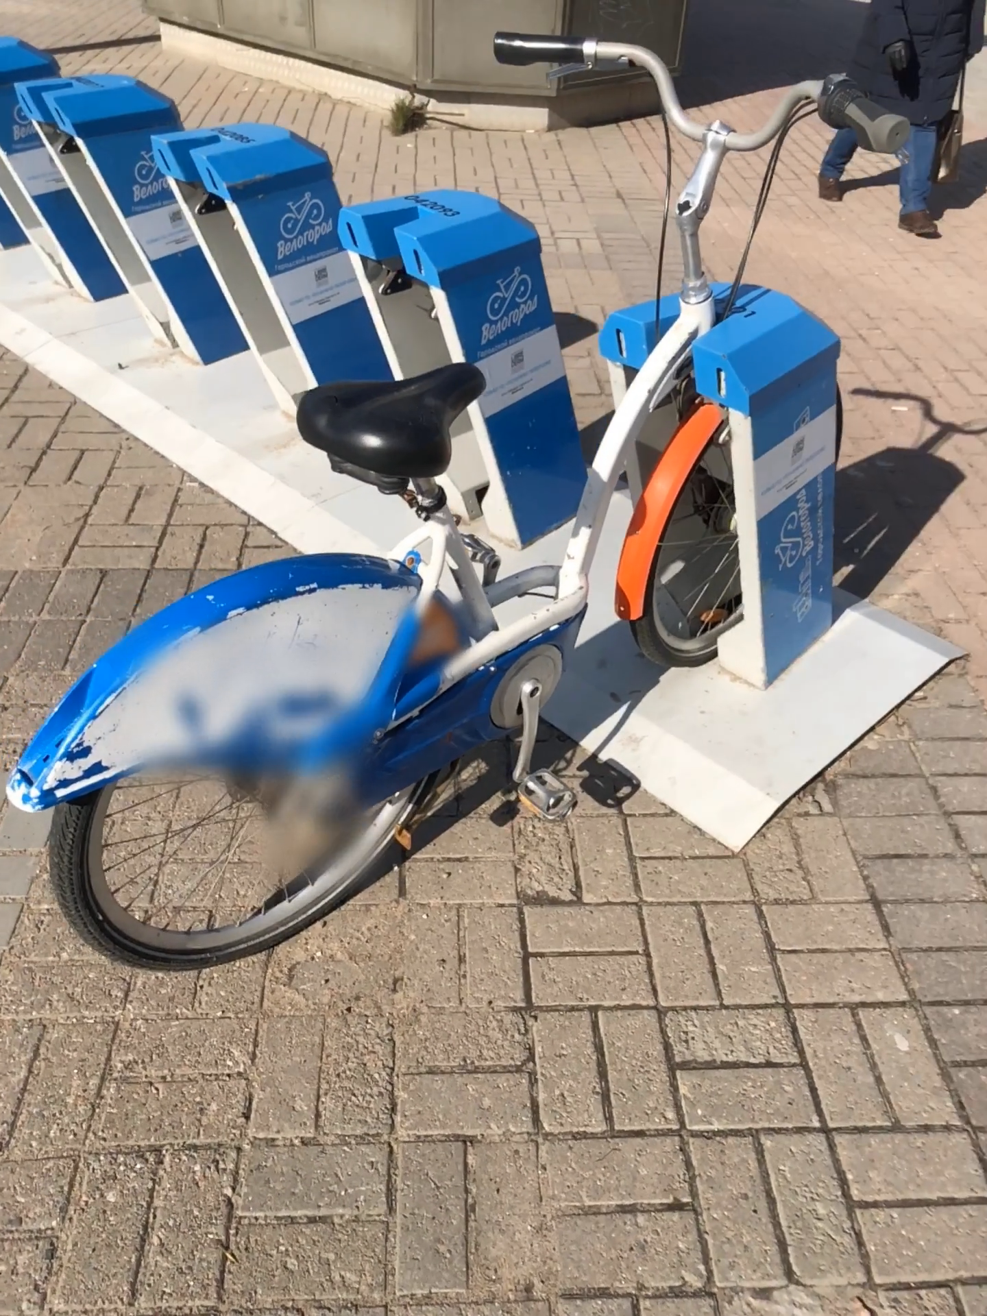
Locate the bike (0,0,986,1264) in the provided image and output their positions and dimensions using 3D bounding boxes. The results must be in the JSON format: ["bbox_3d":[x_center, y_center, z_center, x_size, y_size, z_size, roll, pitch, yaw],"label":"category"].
[{"bbox_3d":[0.087,-0.273,1.619,1.679,1.233,0.684,-30,48,-32],"label":"bike"}]
